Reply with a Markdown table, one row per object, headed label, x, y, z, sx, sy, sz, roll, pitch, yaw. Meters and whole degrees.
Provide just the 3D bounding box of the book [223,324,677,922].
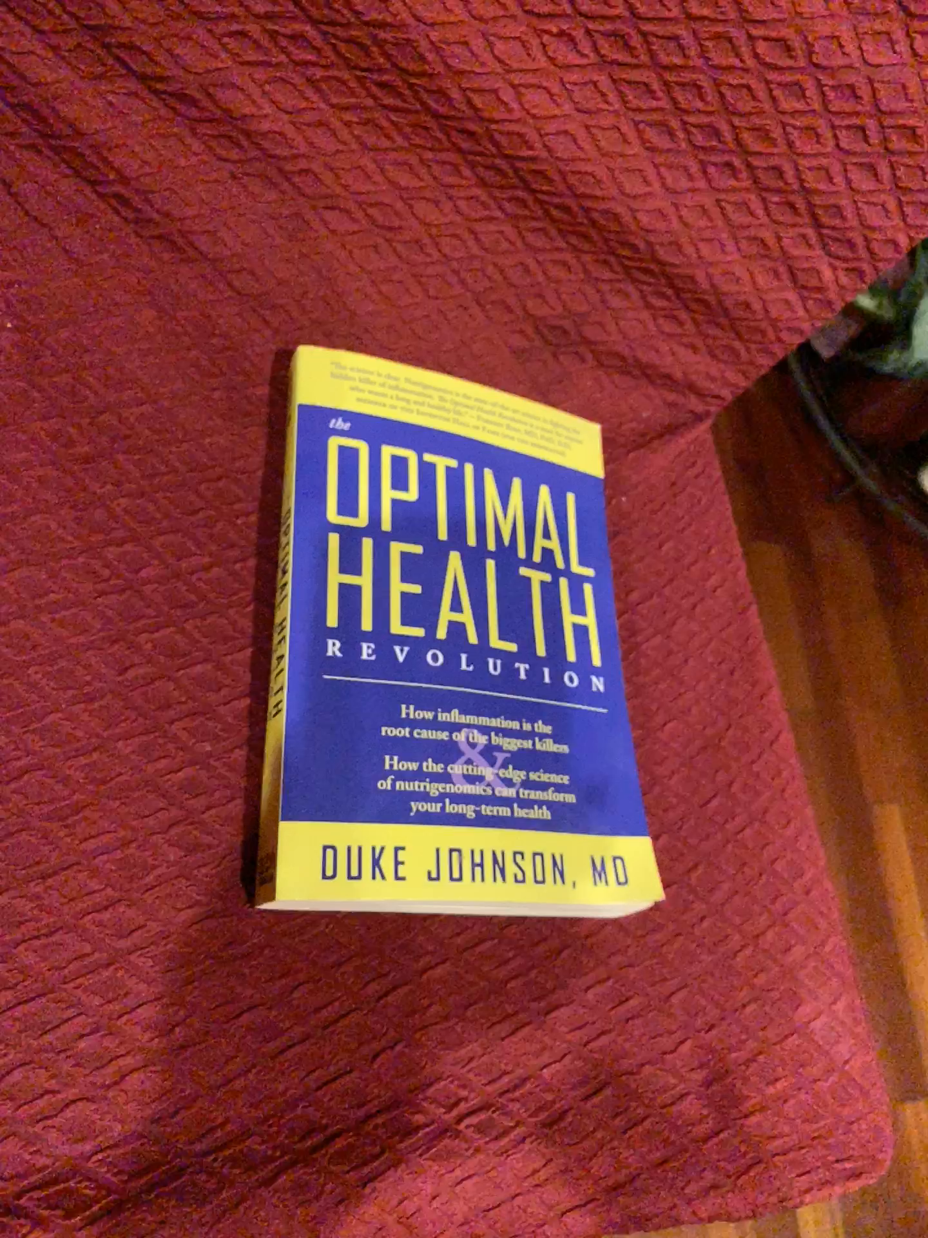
| label | x | y | z | sx | sy | sz | roll | pitch | yaw |
| --- | --- | --- | --- | --- | --- | --- | --- | --- | --- |
| book | -0.005 | 0.007 | 0.404 | 0.161 | 0.060 | 0.222 | 10 | 65 | -25 |
